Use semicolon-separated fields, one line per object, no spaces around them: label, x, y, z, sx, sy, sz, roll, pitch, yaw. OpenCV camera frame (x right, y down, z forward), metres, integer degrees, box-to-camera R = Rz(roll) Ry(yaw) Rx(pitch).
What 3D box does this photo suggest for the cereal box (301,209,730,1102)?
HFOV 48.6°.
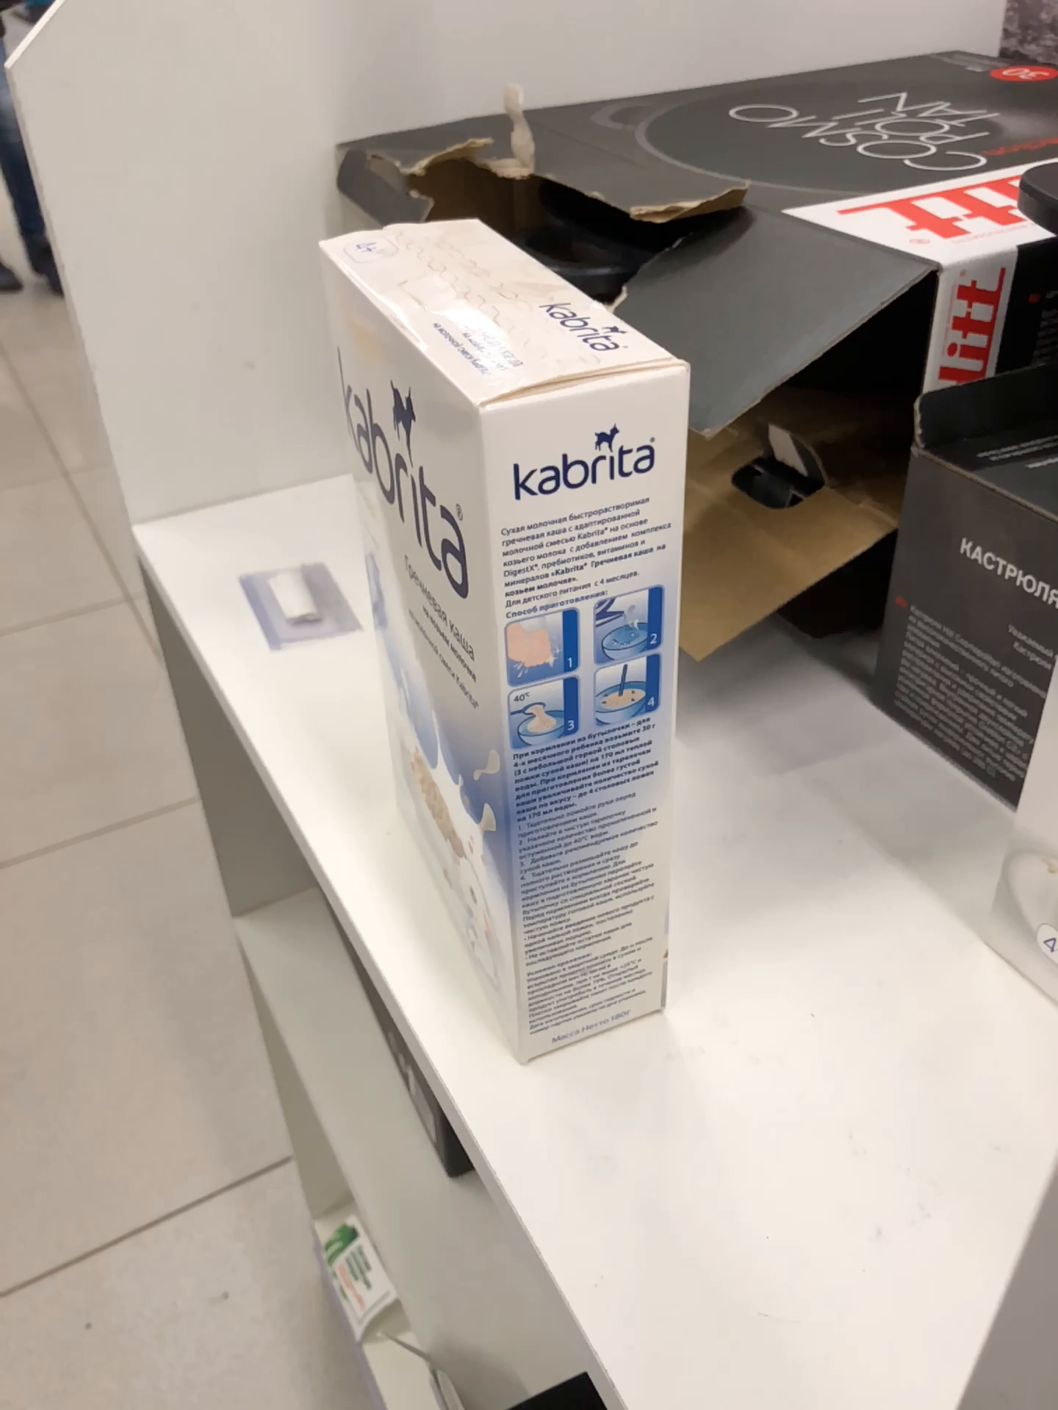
cereal box;-0.008;-0.013;0.347;0.050;0.219;0.141;-17;38;-19
